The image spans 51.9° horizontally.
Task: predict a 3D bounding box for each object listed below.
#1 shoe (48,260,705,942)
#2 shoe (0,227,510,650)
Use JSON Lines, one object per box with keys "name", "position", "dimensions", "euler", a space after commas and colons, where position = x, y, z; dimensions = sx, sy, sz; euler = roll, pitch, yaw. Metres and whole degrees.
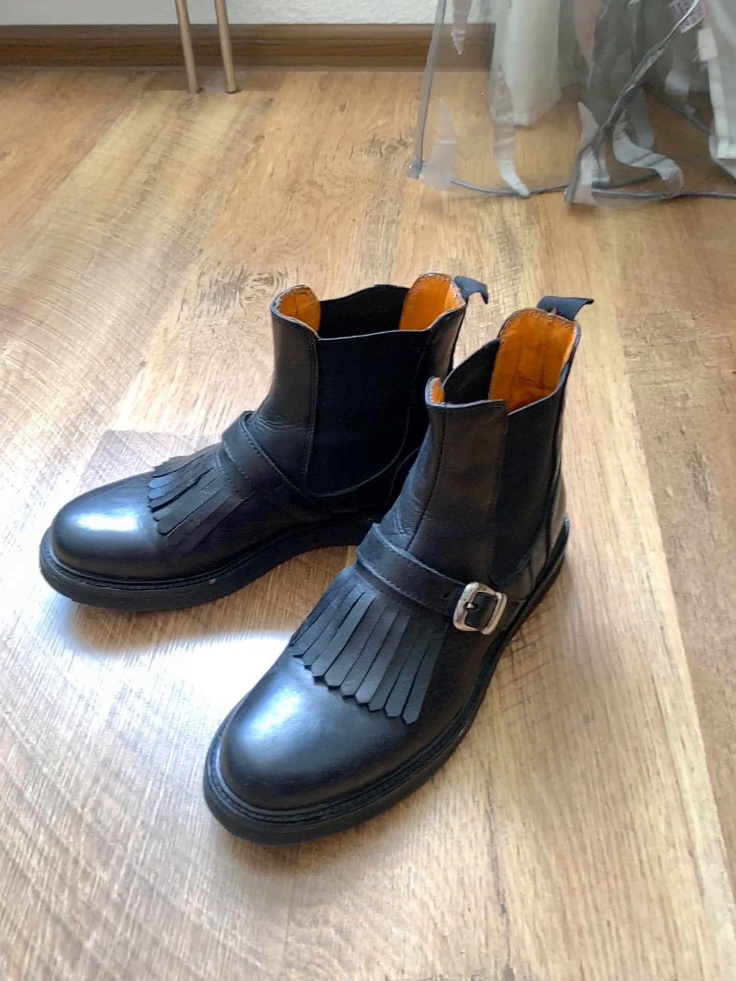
{"name": "shoe", "position": [0.023, 0.034, 0.338], "dimensions": [0.100, 0.149, 0.261], "euler": [32, 55, 28]}
{"name": "shoe", "position": [-0.068, -0.029, 0.414], "dimensions": [0.260, 0.151, 0.090], "euler": [-15, 48, -12]}
